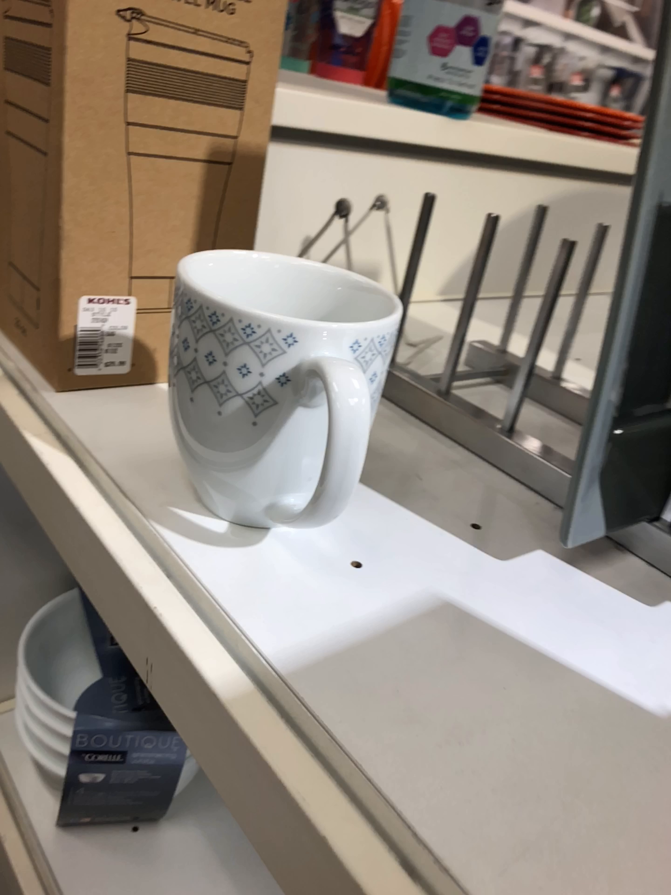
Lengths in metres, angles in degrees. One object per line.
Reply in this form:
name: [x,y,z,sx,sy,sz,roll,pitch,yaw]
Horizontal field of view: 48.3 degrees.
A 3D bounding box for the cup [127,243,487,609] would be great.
cup: [-0.025,-0.020,0.323,0.099,0.099,0.136,-4,28,-26]
